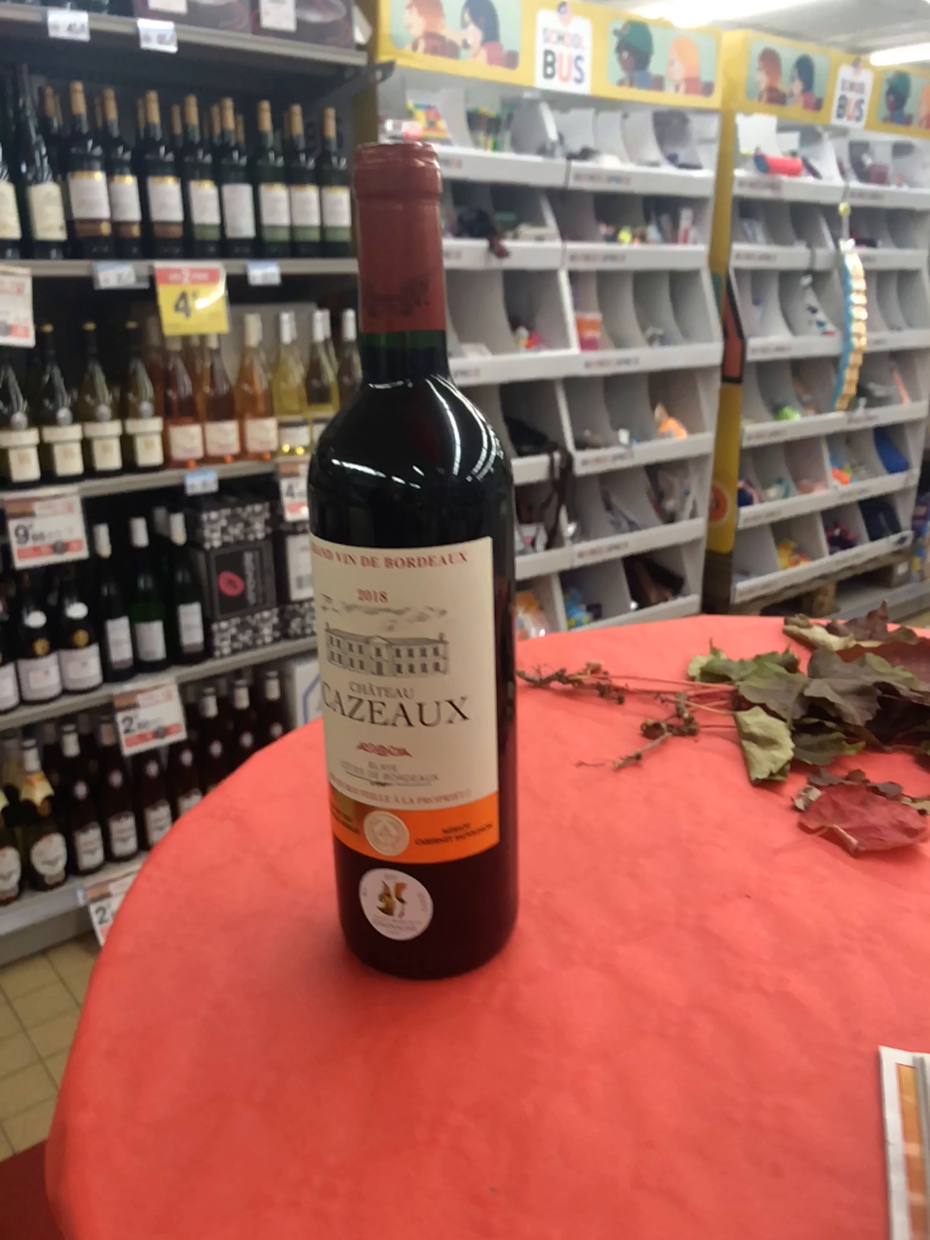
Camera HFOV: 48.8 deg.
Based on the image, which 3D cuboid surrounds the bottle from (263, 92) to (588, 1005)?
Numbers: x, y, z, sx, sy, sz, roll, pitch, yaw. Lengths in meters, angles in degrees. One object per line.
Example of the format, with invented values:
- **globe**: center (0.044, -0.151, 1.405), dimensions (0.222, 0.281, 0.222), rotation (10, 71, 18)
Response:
- **bottle**: center (-0.008, -0.019, 0.375), dimensions (0.080, 0.299, 0.080), rotation (0, 18, 0)
